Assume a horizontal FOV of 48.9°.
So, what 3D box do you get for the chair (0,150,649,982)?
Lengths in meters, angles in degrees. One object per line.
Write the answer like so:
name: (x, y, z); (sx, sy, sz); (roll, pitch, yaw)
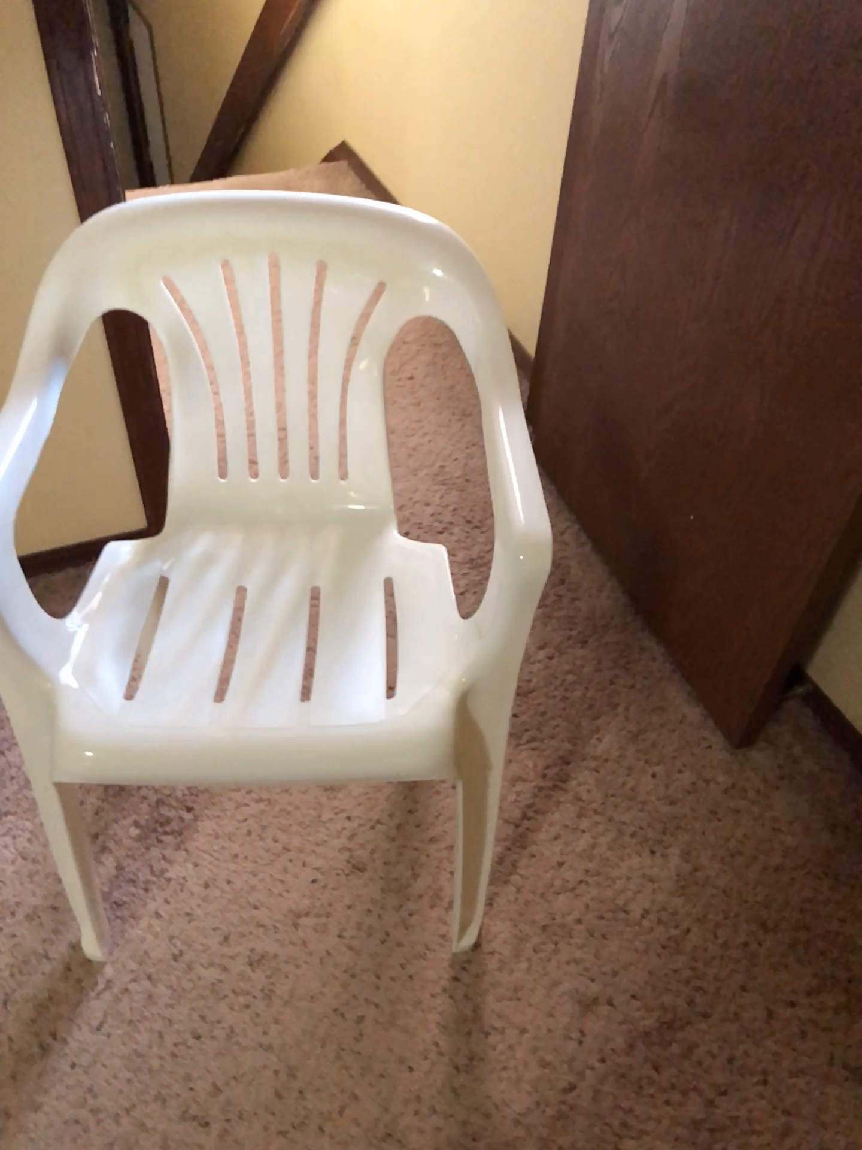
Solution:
chair: (-0.181, 0.040, 1.020); (0.580, 0.768, 0.471); (0, 46, -4)
